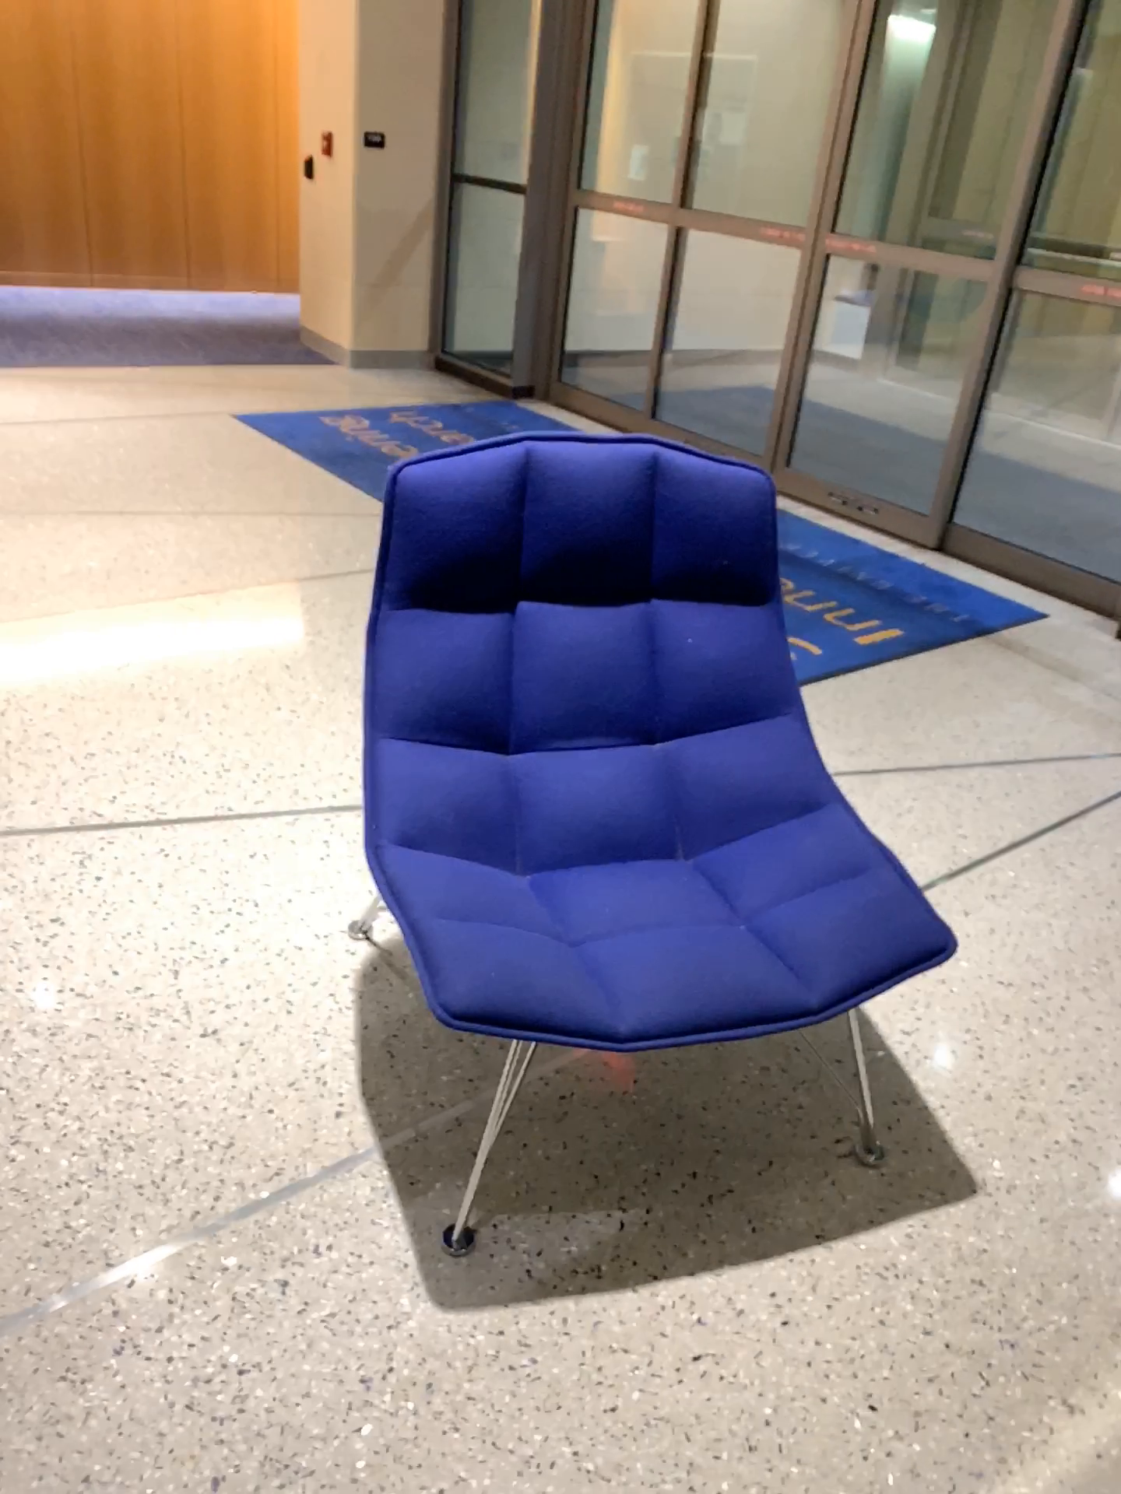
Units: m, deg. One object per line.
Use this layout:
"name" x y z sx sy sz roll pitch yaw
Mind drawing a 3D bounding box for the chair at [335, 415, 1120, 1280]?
"chair" 0.153 0.067 1.721 0.854 0.894 0.800 -3 29 -18
